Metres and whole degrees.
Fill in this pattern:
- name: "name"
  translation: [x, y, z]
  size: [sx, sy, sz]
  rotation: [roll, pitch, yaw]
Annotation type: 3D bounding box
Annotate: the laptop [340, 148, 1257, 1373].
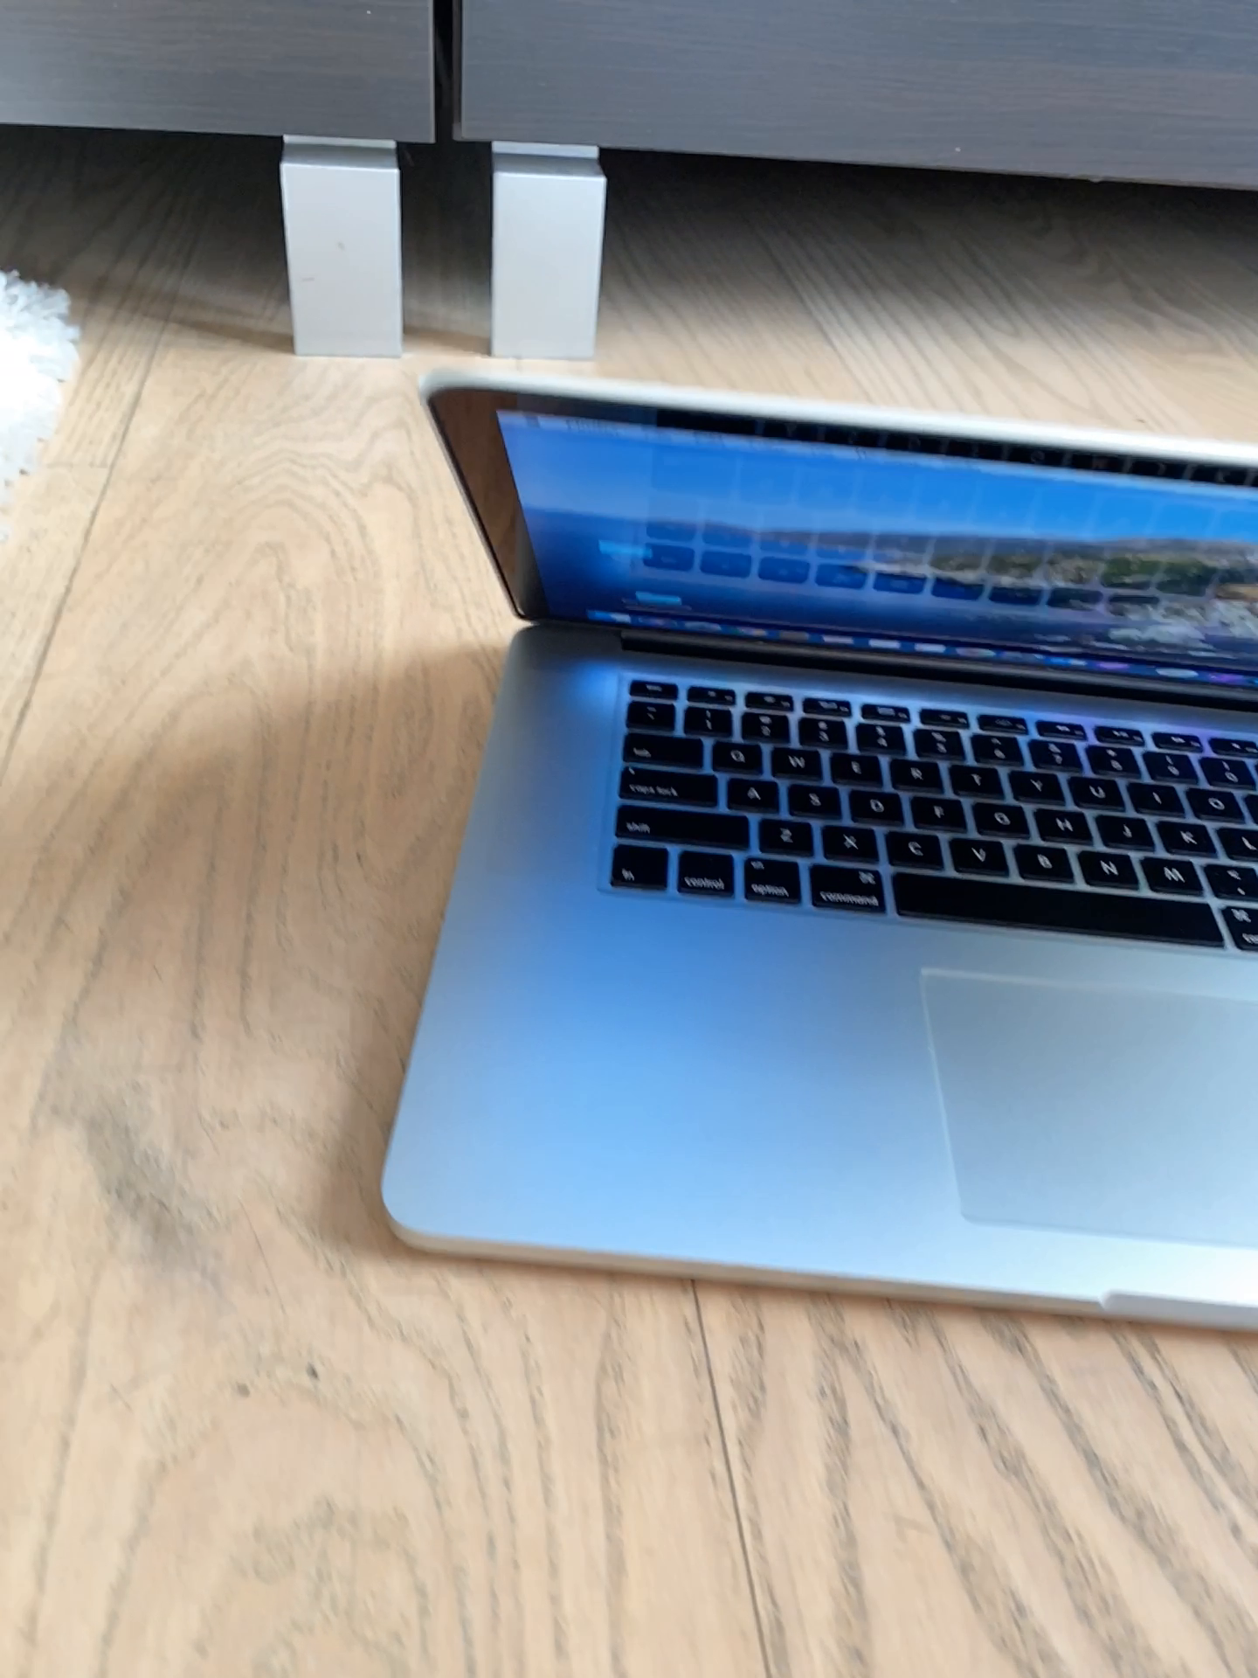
- name: "laptop"
  translation: [0.140, -0.036, 0.325]
  size: [0.361, 0.157, 0.237]
  rotation: [6, 41, -1]
